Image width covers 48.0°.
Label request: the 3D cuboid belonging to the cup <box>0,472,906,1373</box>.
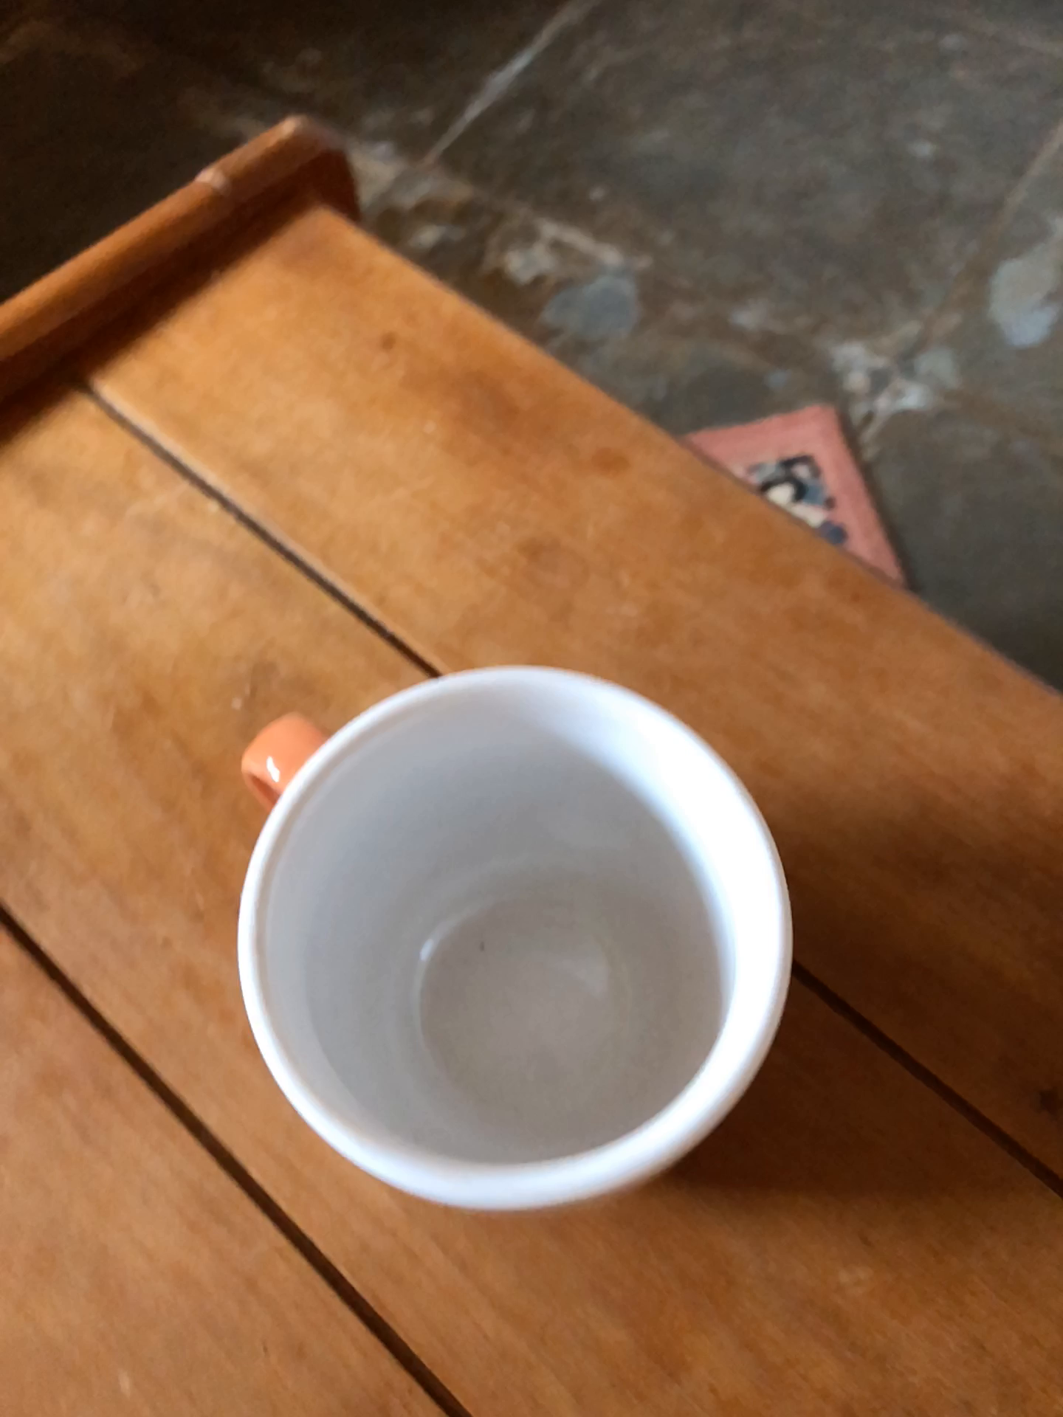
[{"bbox_3d":[-0.015,0.034,0.205,0.110,0.060,0.090,36,68,18],"label":"cup"}]
